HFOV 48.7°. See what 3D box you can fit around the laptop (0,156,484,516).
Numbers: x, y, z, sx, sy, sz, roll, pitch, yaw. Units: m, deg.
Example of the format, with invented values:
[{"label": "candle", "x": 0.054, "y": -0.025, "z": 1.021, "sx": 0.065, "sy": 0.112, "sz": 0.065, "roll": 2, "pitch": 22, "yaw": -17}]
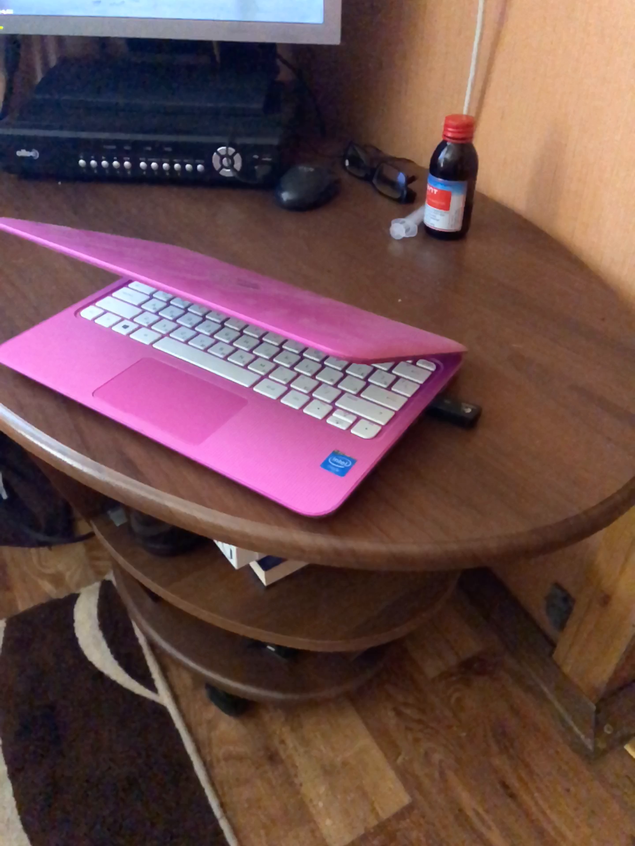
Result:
[{"label": "laptop", "x": -0.058, "y": -0.080, "z": 0.457, "sx": 0.264, "sy": 0.081, "sz": 0.187, "roll": 23, "pitch": 45, "yaw": 25}]
